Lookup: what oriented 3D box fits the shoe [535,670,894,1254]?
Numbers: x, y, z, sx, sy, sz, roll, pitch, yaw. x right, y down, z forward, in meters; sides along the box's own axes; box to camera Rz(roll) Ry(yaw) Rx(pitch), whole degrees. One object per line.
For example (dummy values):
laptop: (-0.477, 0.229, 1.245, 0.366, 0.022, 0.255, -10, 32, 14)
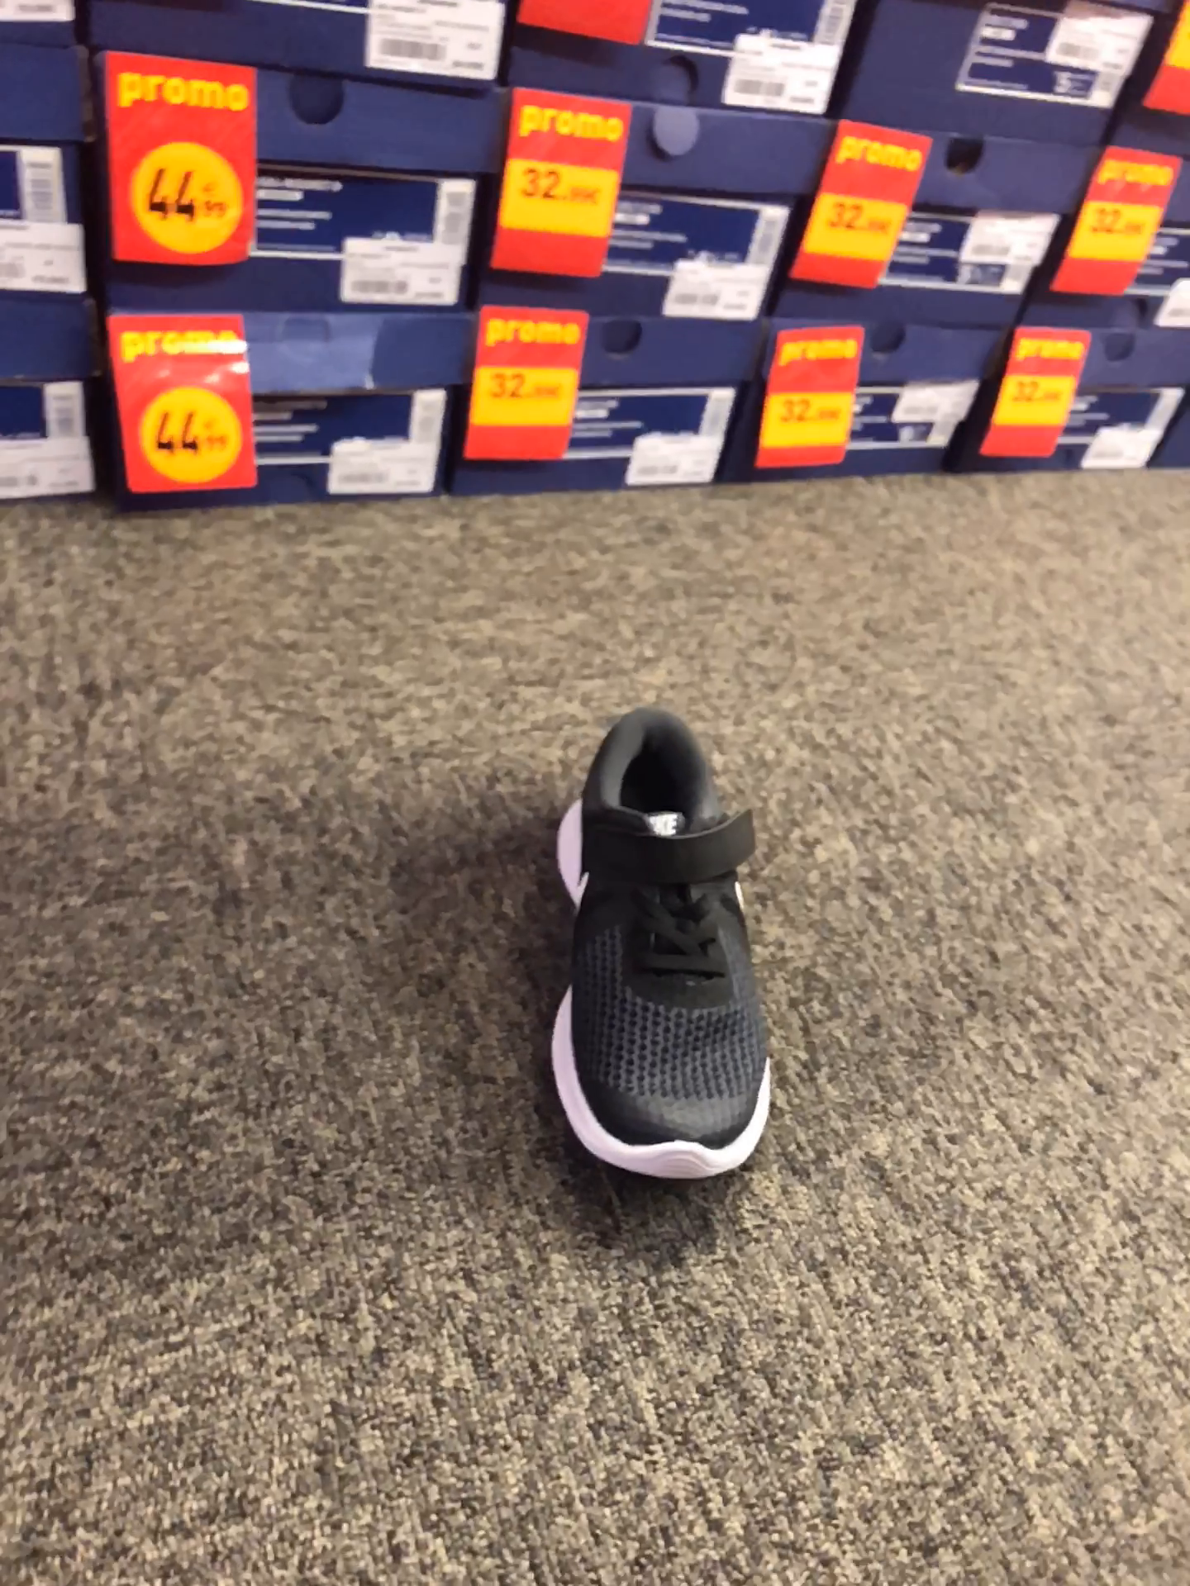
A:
shoe: (0.033, 0.055, 0.507, 0.090, 0.079, 0.218, 5, 42, -11)
